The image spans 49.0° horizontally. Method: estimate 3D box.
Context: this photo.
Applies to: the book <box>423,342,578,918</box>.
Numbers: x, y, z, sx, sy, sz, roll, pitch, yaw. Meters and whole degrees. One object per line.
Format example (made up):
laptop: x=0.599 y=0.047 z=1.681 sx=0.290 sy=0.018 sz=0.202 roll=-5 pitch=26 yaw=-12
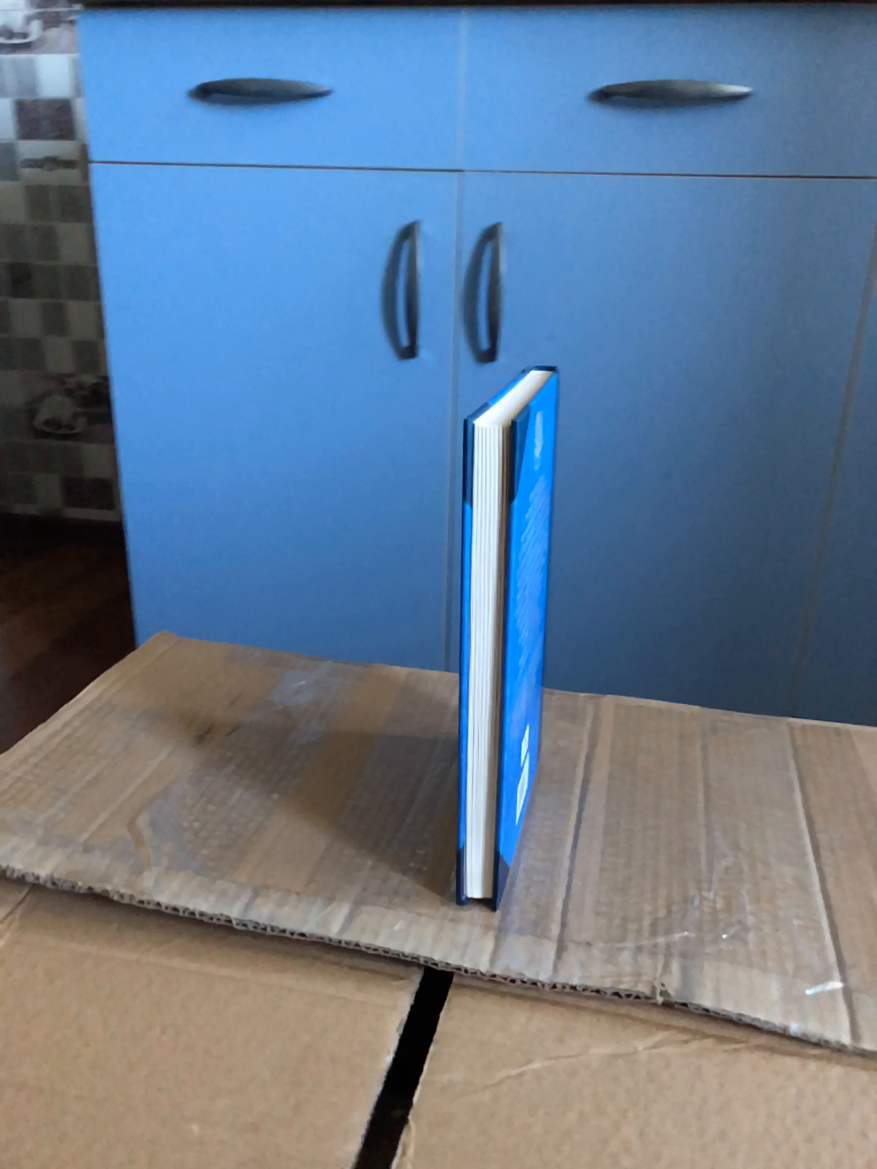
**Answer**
book: x=0.028 y=0.010 z=0.407 sx=0.030 sy=0.199 sz=0.144 roll=6 pitch=22 yaw=12
